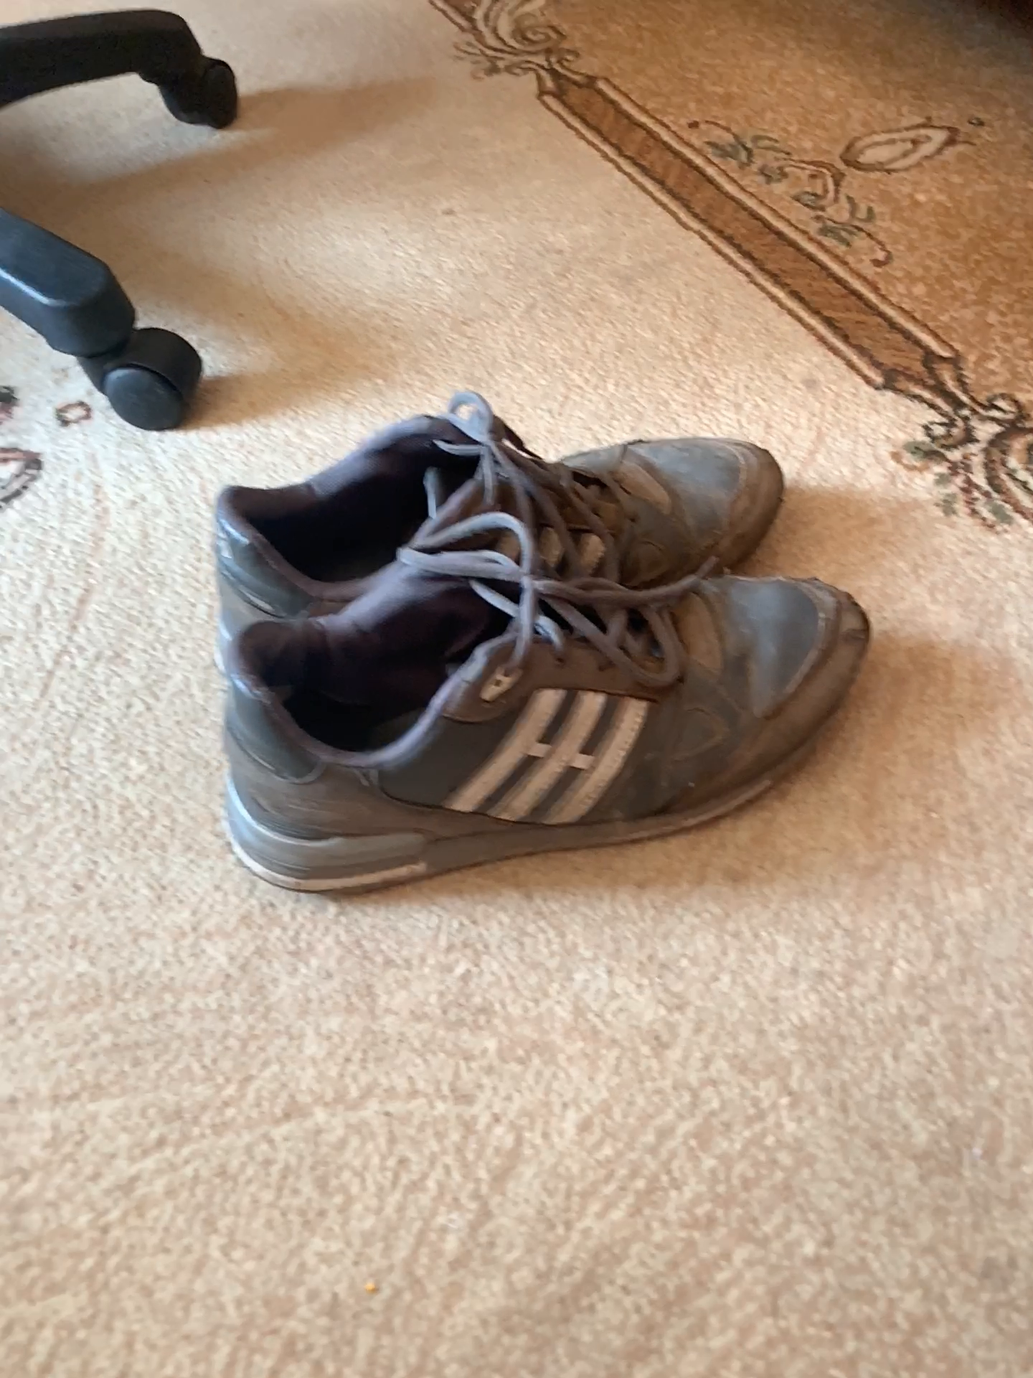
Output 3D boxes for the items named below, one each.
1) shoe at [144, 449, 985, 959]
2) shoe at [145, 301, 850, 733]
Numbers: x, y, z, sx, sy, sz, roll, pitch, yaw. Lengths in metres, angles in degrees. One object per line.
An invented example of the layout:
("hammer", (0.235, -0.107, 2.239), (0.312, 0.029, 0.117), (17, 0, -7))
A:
("shoe", (0.015, 0.003, 0.459), (0.313, 0.099, 0.117), (-13, 54, -7))
("shoe", (-0.012, -0.090, 0.536), (0.310, 0.099, 0.121), (-13, 54, -7))
